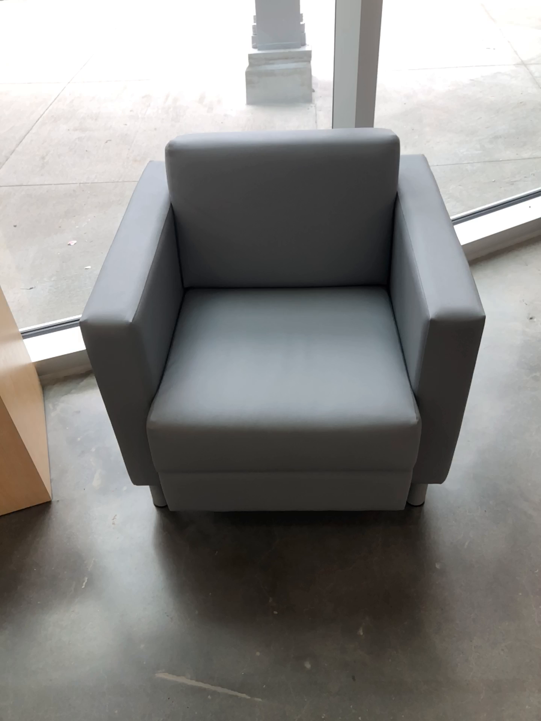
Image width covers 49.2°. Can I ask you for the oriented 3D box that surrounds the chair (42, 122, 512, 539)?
[{"bbox_3d":[0.026,-0.089,1.490,0.770,0.695,0.786,-1,43,3],"label":"chair"}]
